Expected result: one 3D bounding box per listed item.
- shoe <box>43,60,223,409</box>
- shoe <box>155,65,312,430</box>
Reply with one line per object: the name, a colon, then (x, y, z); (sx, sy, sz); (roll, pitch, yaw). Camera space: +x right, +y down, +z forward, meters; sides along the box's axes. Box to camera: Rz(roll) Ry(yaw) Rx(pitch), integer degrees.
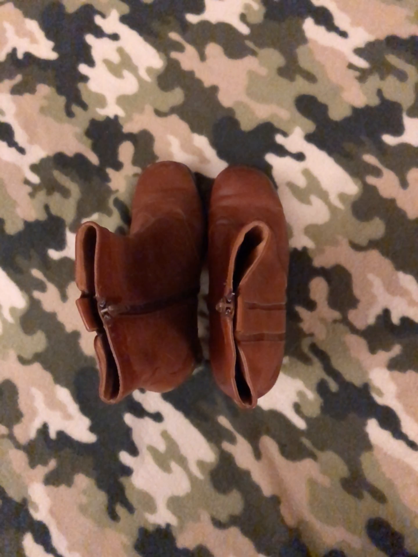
shoe: (-0.049, -0.019, 0.386); (0.090, 0.190, 0.220); (-4, 82, 8)
shoe: (0.027, -0.011, 0.373); (0.090, 0.190, 0.220); (-1, 82, 8)
